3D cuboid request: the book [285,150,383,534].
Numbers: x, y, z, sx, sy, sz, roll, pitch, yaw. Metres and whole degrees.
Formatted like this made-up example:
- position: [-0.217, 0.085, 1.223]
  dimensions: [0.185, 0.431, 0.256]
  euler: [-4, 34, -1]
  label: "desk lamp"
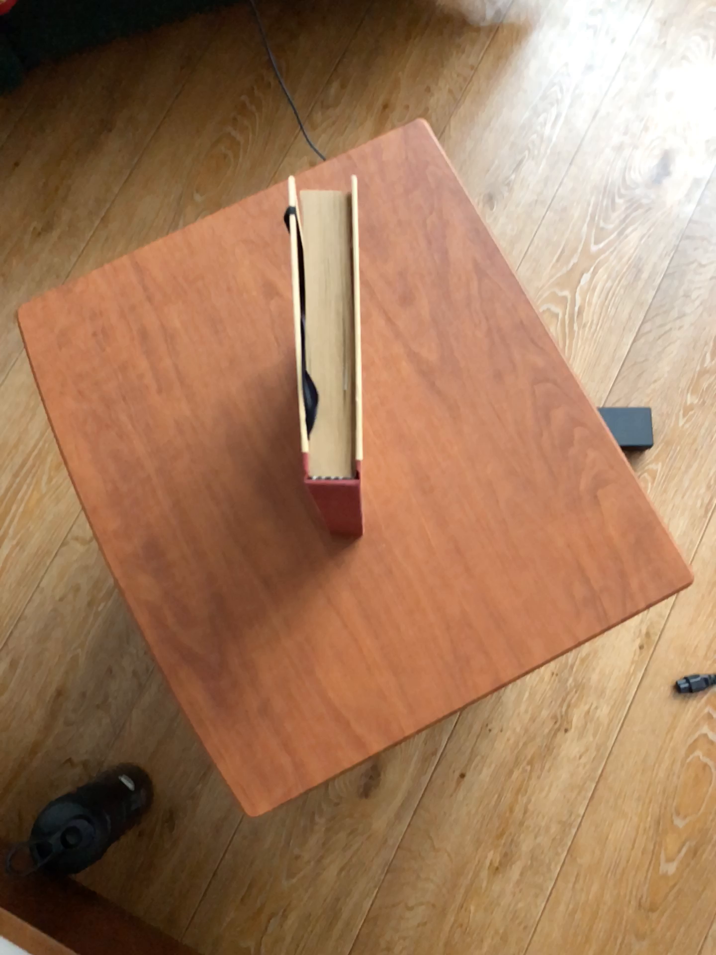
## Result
- position: [-0.010, -0.059, 0.461]
  dimensions: [0.041, 0.205, 0.162]
  euler: [-2, 80, 1]
  label: "book"
